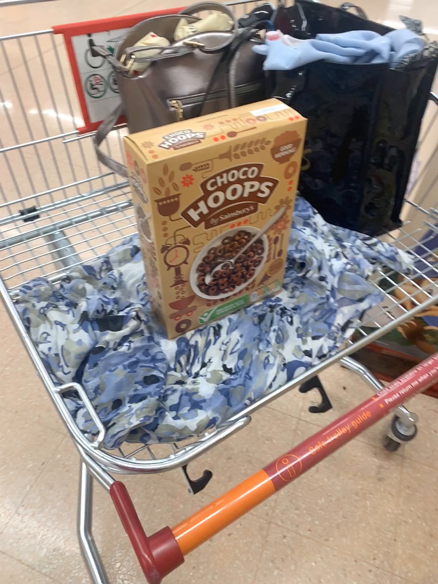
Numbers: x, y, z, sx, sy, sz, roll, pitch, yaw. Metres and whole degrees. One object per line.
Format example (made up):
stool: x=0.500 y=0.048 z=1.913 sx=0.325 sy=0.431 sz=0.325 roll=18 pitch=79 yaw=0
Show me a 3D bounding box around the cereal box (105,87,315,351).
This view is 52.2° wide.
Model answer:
cereal box: x=-0.008 y=-0.083 z=0.584 sx=0.221 sy=0.297 sz=0.070 roll=-22 pitch=49 yaw=-23
